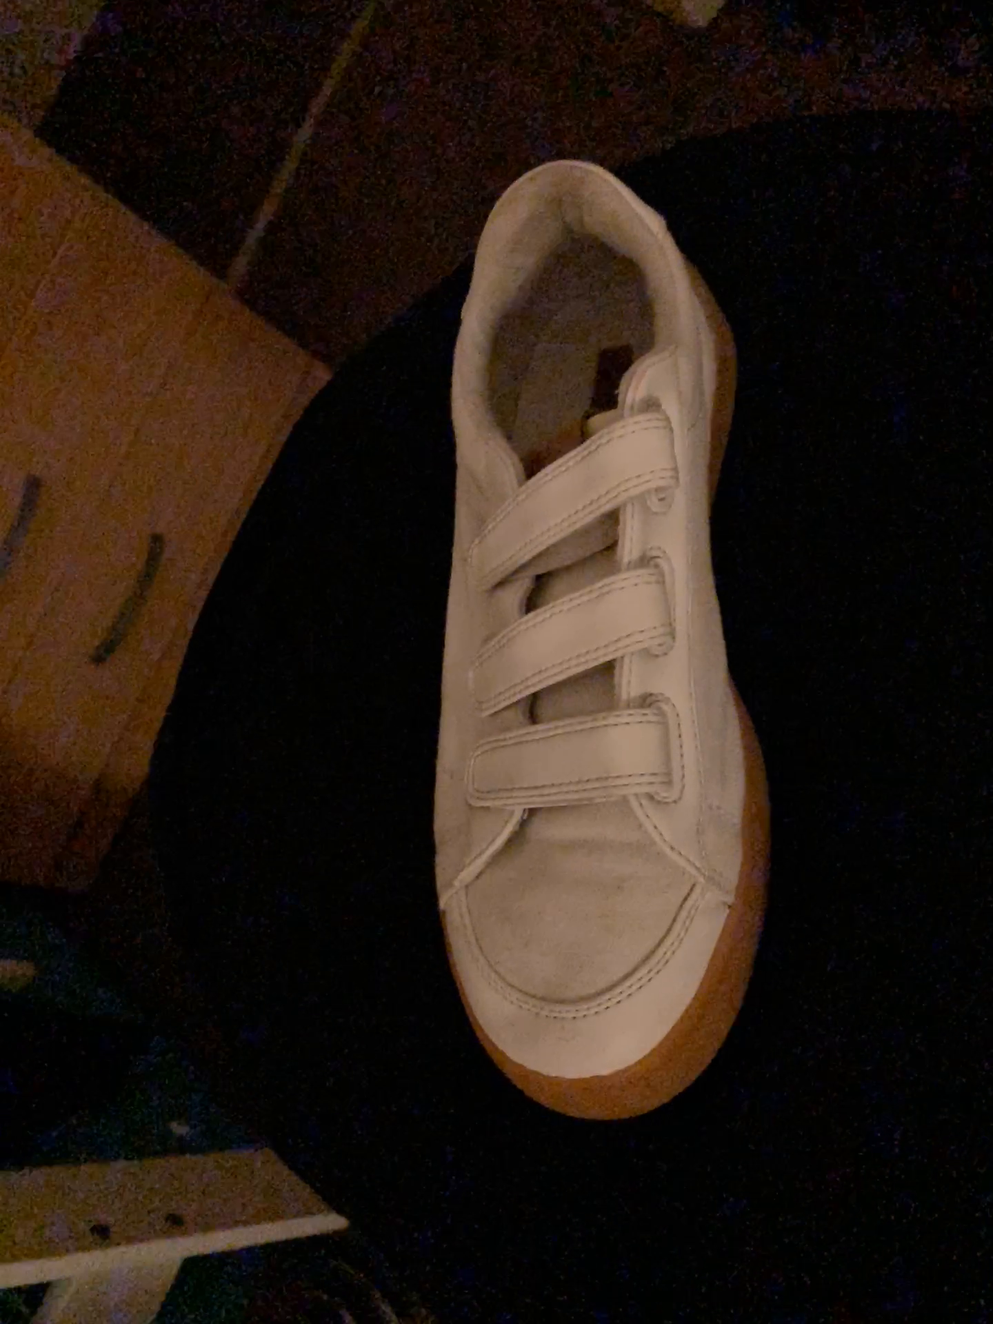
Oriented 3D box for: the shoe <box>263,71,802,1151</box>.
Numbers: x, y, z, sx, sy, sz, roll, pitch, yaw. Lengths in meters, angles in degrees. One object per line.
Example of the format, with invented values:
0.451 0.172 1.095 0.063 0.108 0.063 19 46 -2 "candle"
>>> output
0.015 -0.015 0.280 0.096 0.079 0.255 -11 66 32 "shoe"
